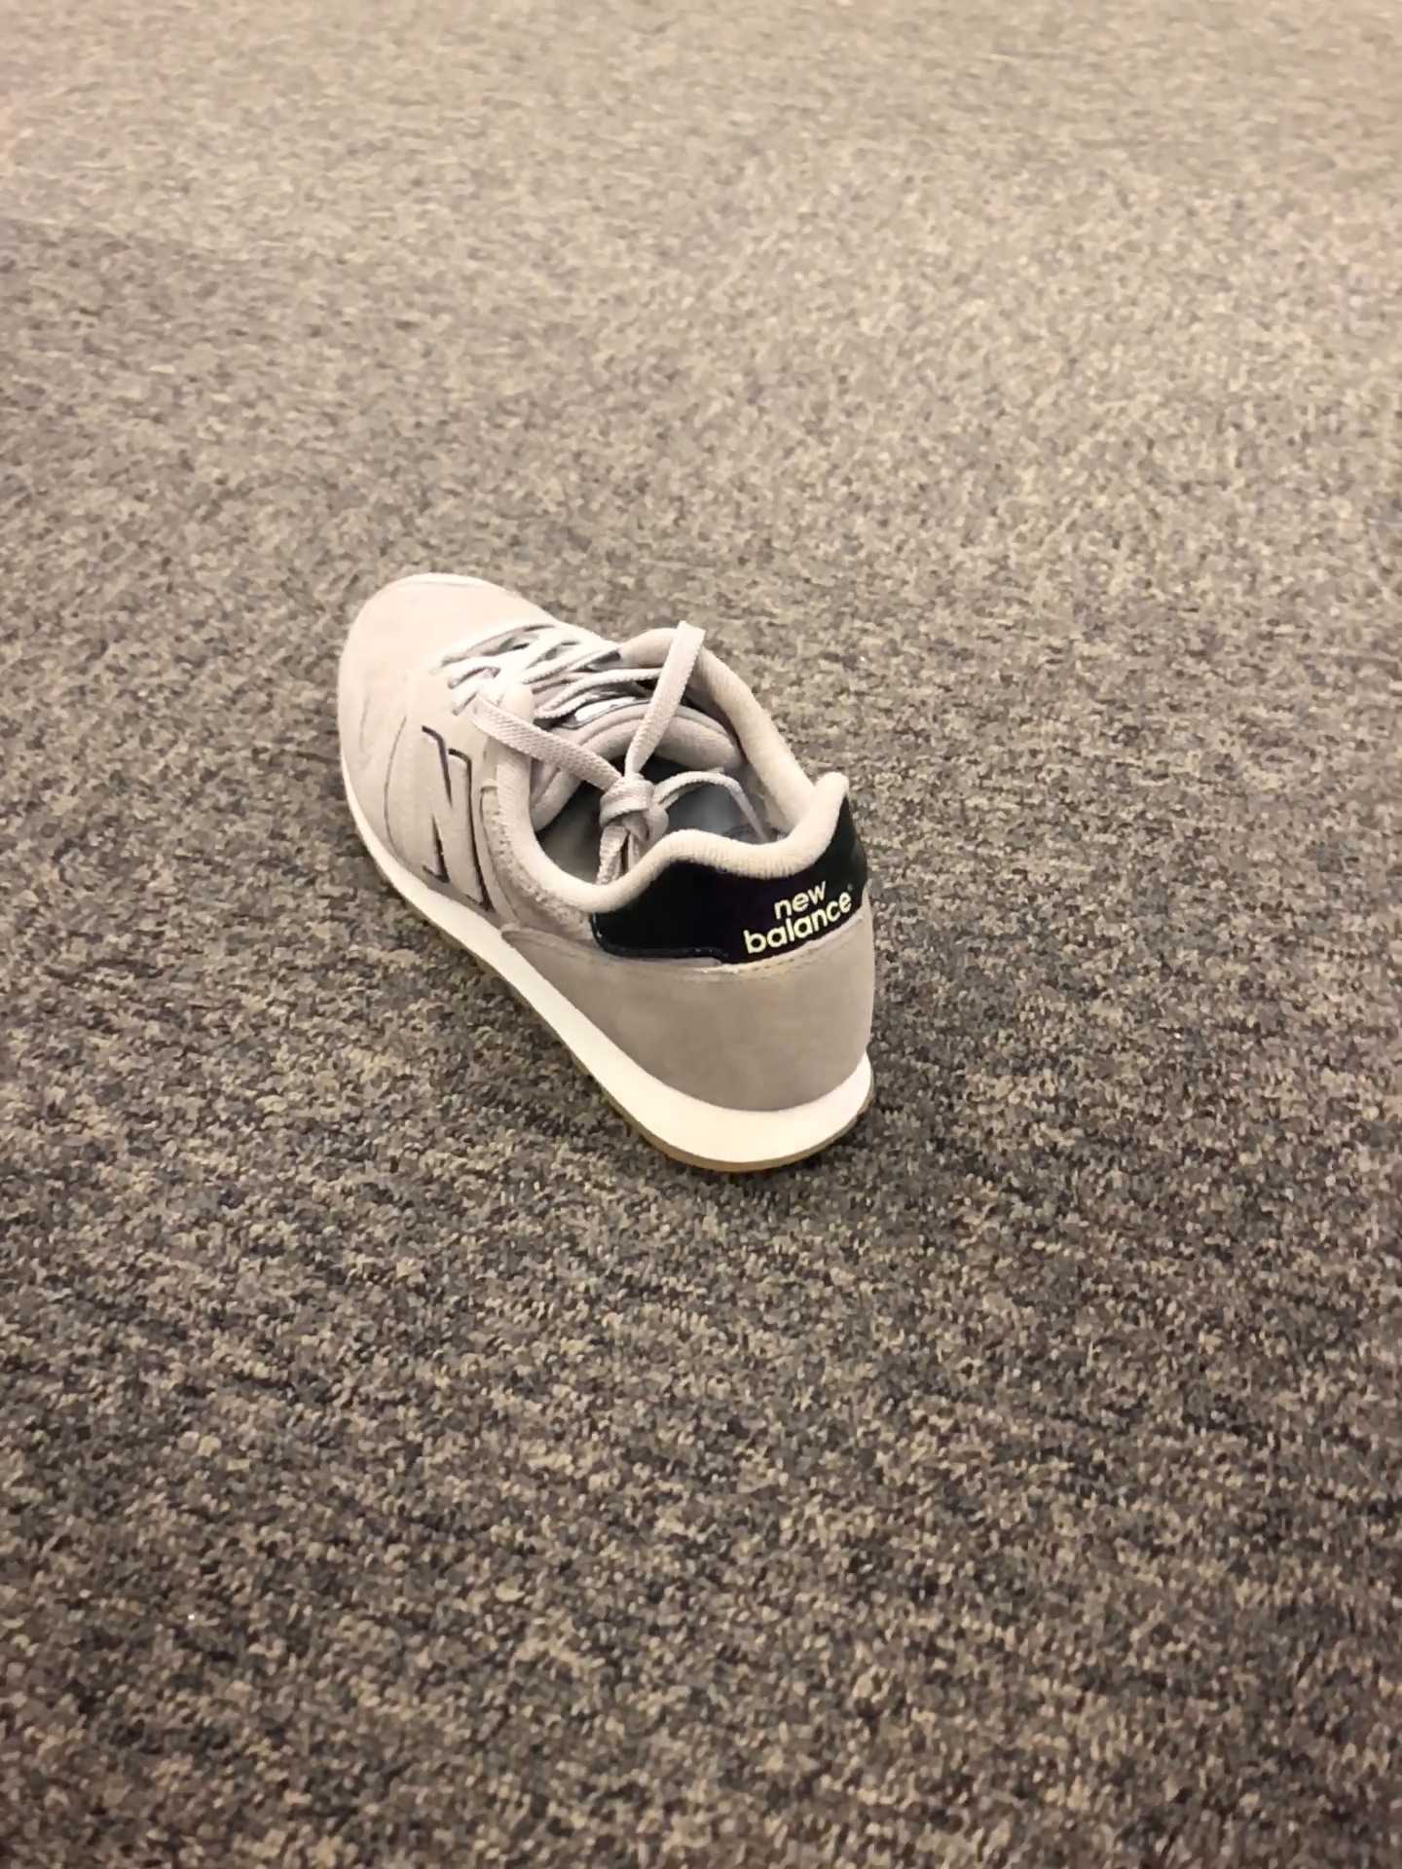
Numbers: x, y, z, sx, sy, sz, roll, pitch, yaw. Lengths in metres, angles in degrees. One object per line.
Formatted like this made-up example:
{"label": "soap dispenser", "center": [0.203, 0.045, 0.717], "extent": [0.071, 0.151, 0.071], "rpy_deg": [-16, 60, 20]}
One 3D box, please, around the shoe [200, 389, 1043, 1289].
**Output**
{"label": "shoe", "center": [-0.036, -0.046, 0.444], "extent": [0.100, 0.109, 0.261], "rpy_deg": [-25, 48, -23]}
